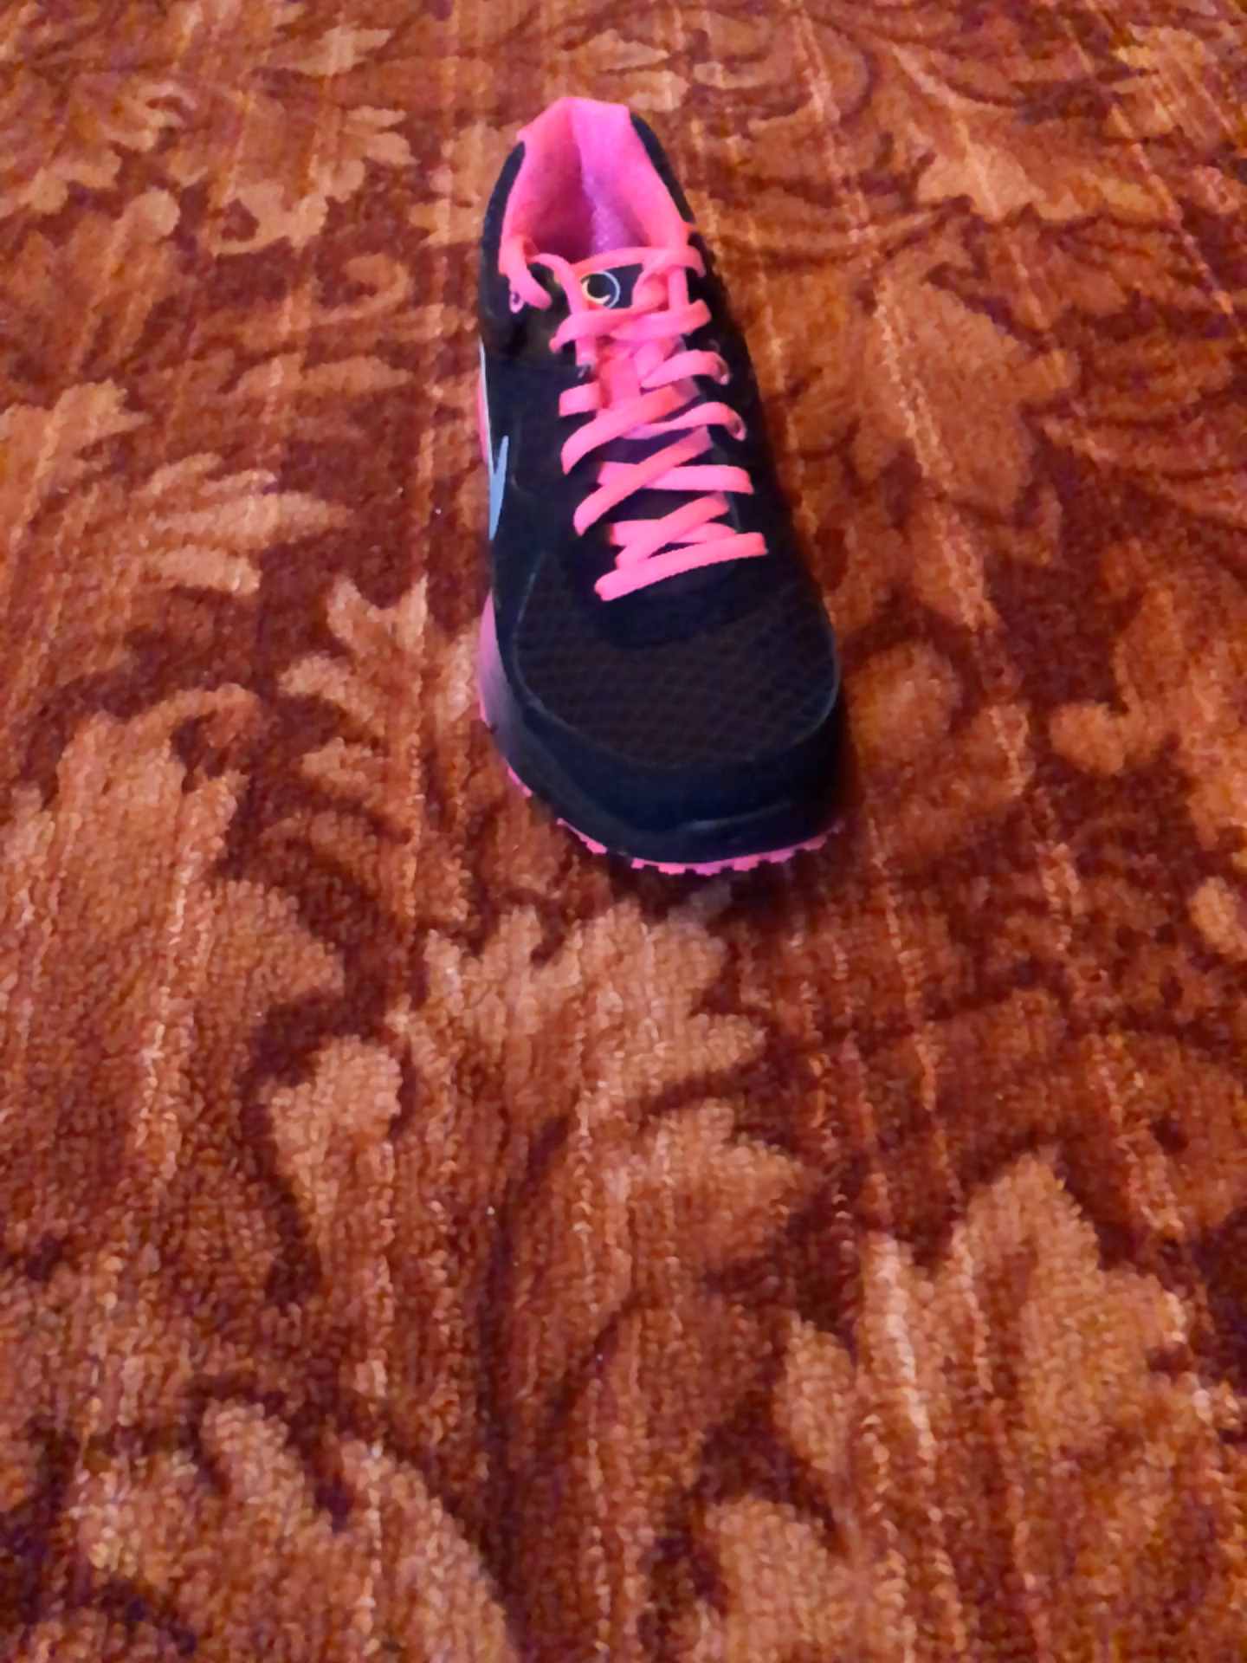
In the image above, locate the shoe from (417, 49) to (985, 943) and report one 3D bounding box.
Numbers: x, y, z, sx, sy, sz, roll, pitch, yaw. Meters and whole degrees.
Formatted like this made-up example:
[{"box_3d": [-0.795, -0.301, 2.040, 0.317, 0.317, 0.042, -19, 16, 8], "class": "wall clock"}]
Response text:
[{"box_3d": [0.006, -0.105, 0.387, 0.100, 0.110, 0.241, -7, 52, -5], "class": "shoe"}]
